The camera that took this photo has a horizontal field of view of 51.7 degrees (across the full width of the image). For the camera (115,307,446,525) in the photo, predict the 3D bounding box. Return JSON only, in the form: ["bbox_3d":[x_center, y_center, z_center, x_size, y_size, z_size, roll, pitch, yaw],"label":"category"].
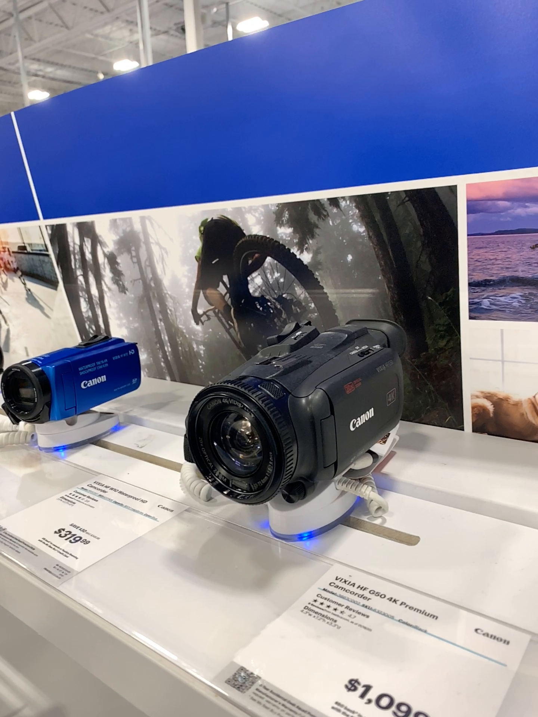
[{"bbox_3d":[0.021,0.018,0.379,0.132,0.069,0.200,7,17,35],"label":"camera"}]
